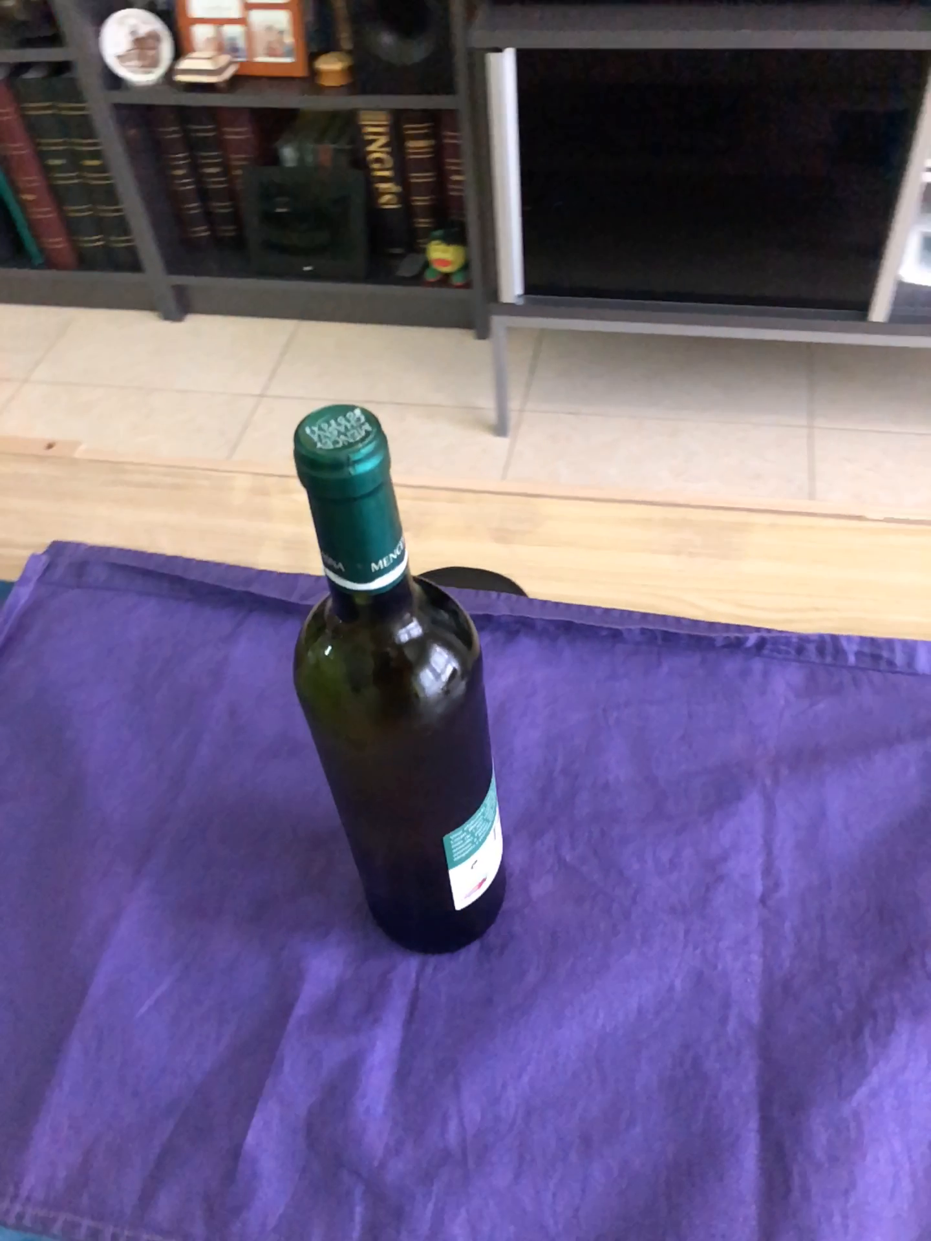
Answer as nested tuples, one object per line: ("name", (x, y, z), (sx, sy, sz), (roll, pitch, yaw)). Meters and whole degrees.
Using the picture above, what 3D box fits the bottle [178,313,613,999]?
("bottle", (-0.008, 0.034, 0.396), (0.090, 0.269, 0.090), (-3, 49, 3))
